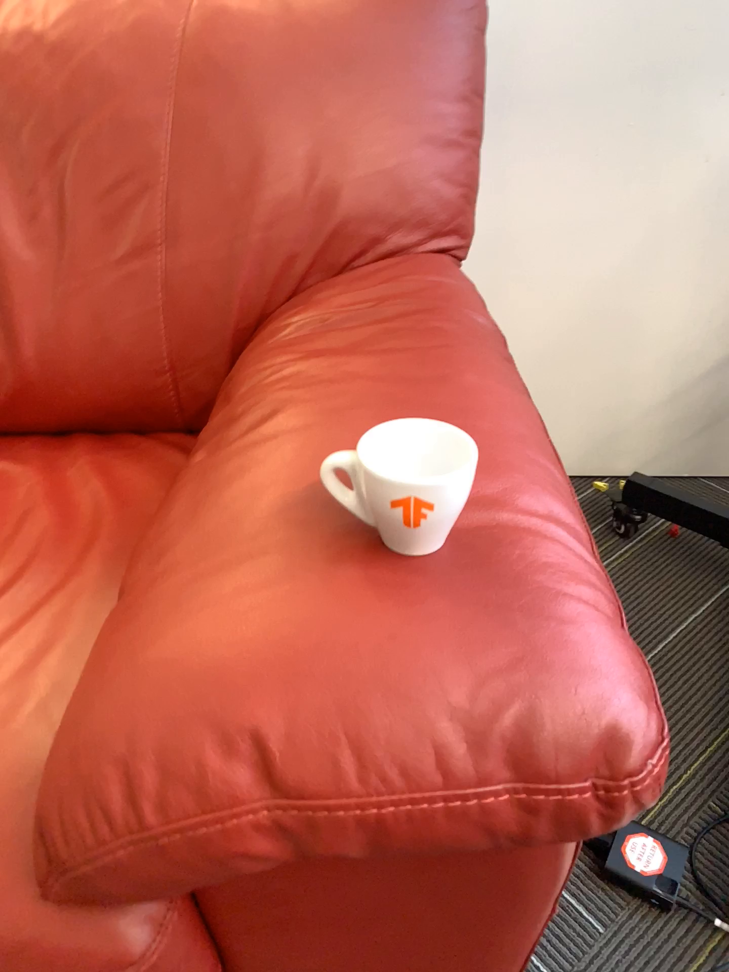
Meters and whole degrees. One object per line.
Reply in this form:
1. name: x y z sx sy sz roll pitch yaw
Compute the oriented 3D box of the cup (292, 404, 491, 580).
1. cup: 0.017 0.001 0.396 0.090 0.060 0.060 7 37 13
